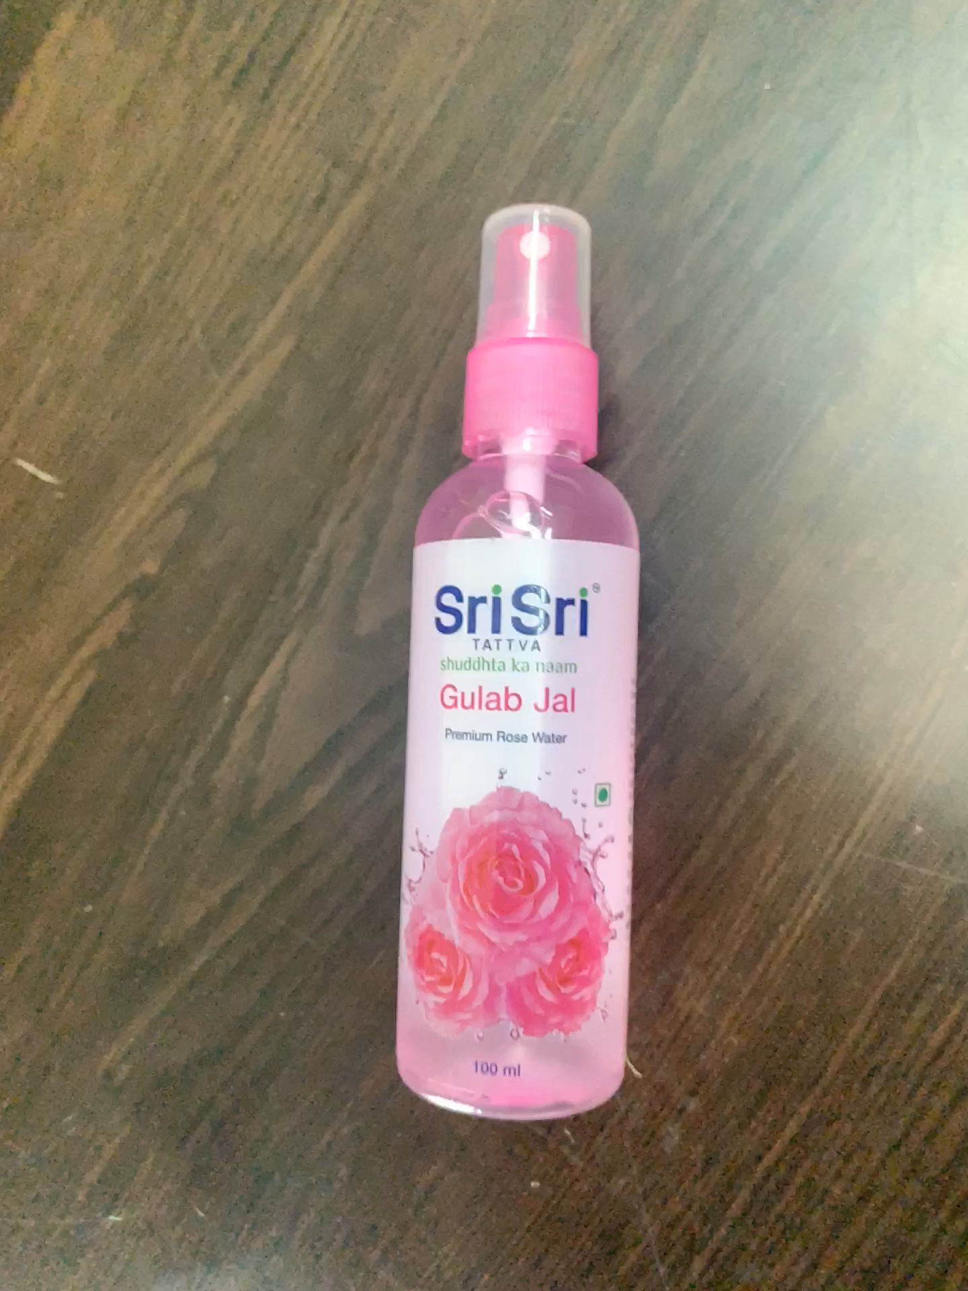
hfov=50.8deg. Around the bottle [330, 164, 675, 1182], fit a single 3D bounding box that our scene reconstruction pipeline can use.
[{"bbox_3d":[0.005,0.003,0.166,0.040,0.040,0.140,2,89,18],"label":"bottle"}]
